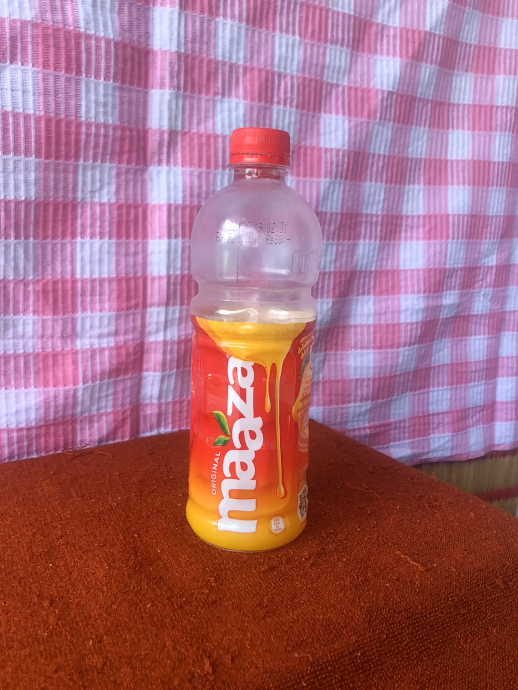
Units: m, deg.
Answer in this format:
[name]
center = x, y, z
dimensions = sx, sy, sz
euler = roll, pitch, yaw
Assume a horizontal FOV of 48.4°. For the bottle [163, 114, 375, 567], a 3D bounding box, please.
[bottle]
center = -0.001, 0.000, 0.301
dimensions = 0.080, 0.209, 0.070
euler = 4, 12, -4
